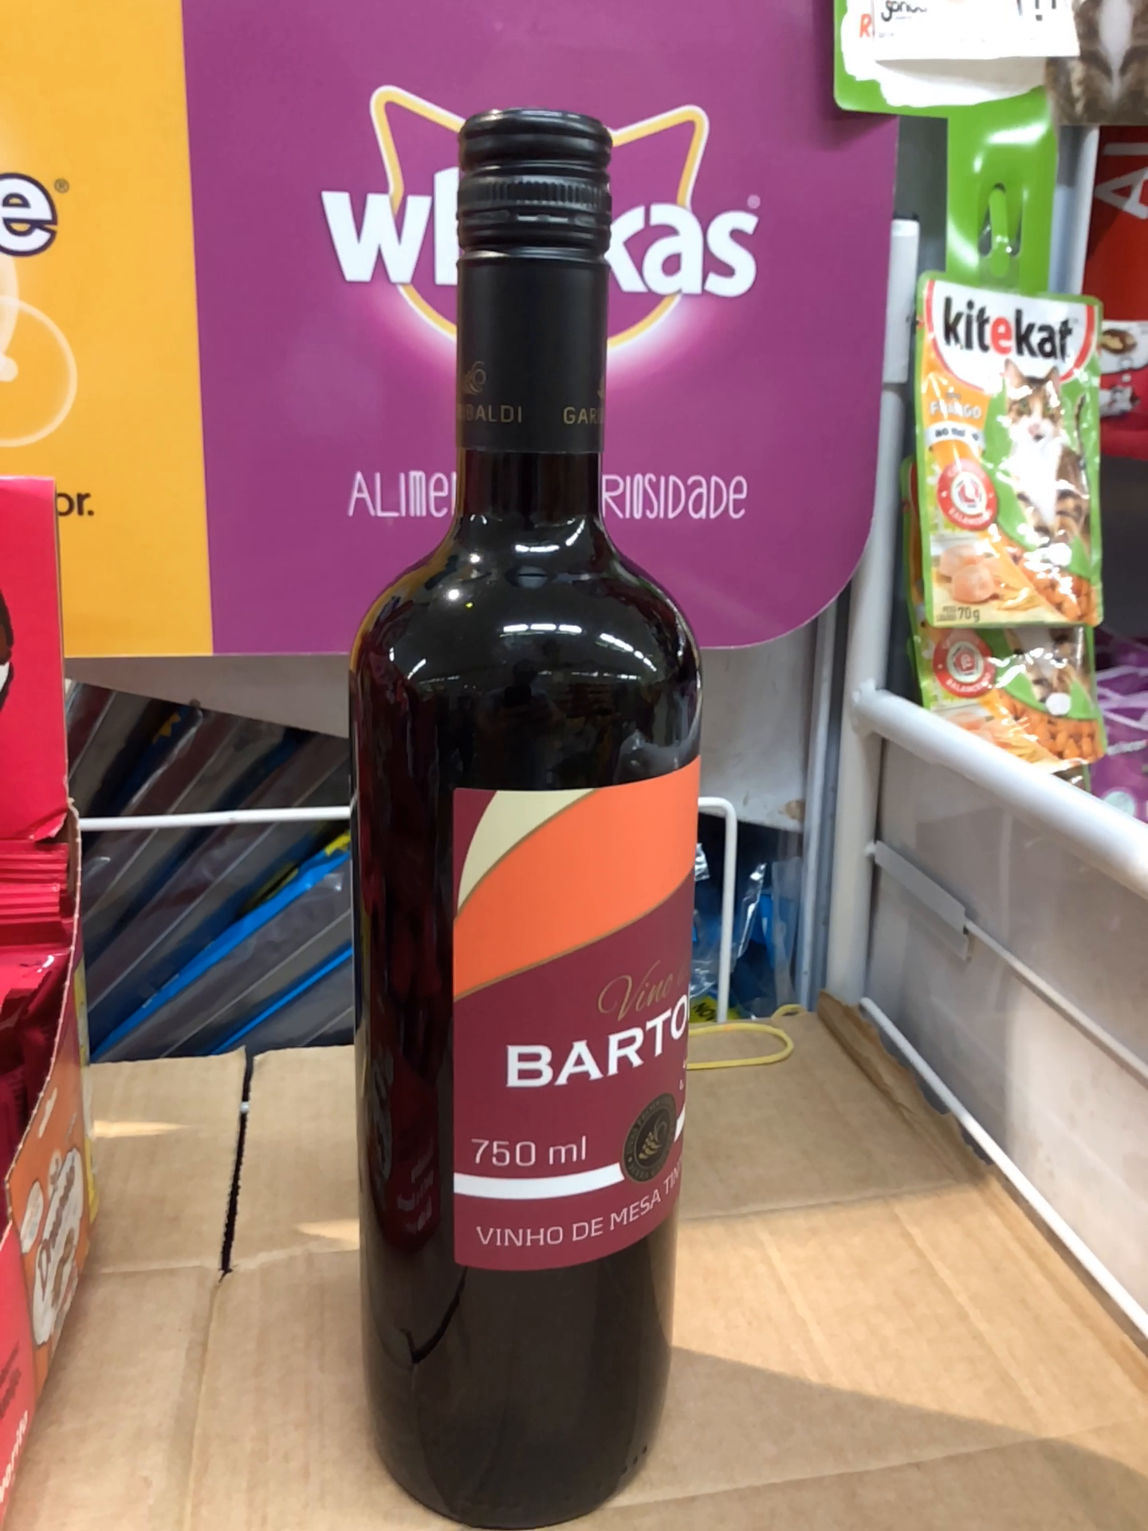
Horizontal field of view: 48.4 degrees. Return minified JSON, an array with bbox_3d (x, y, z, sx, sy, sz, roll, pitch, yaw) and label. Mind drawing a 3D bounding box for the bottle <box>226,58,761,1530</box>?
[{"bbox_3d":[-0.015,0.025,0.276,0.060,0.298,0.080,14,20,41],"label":"bottle"}]
